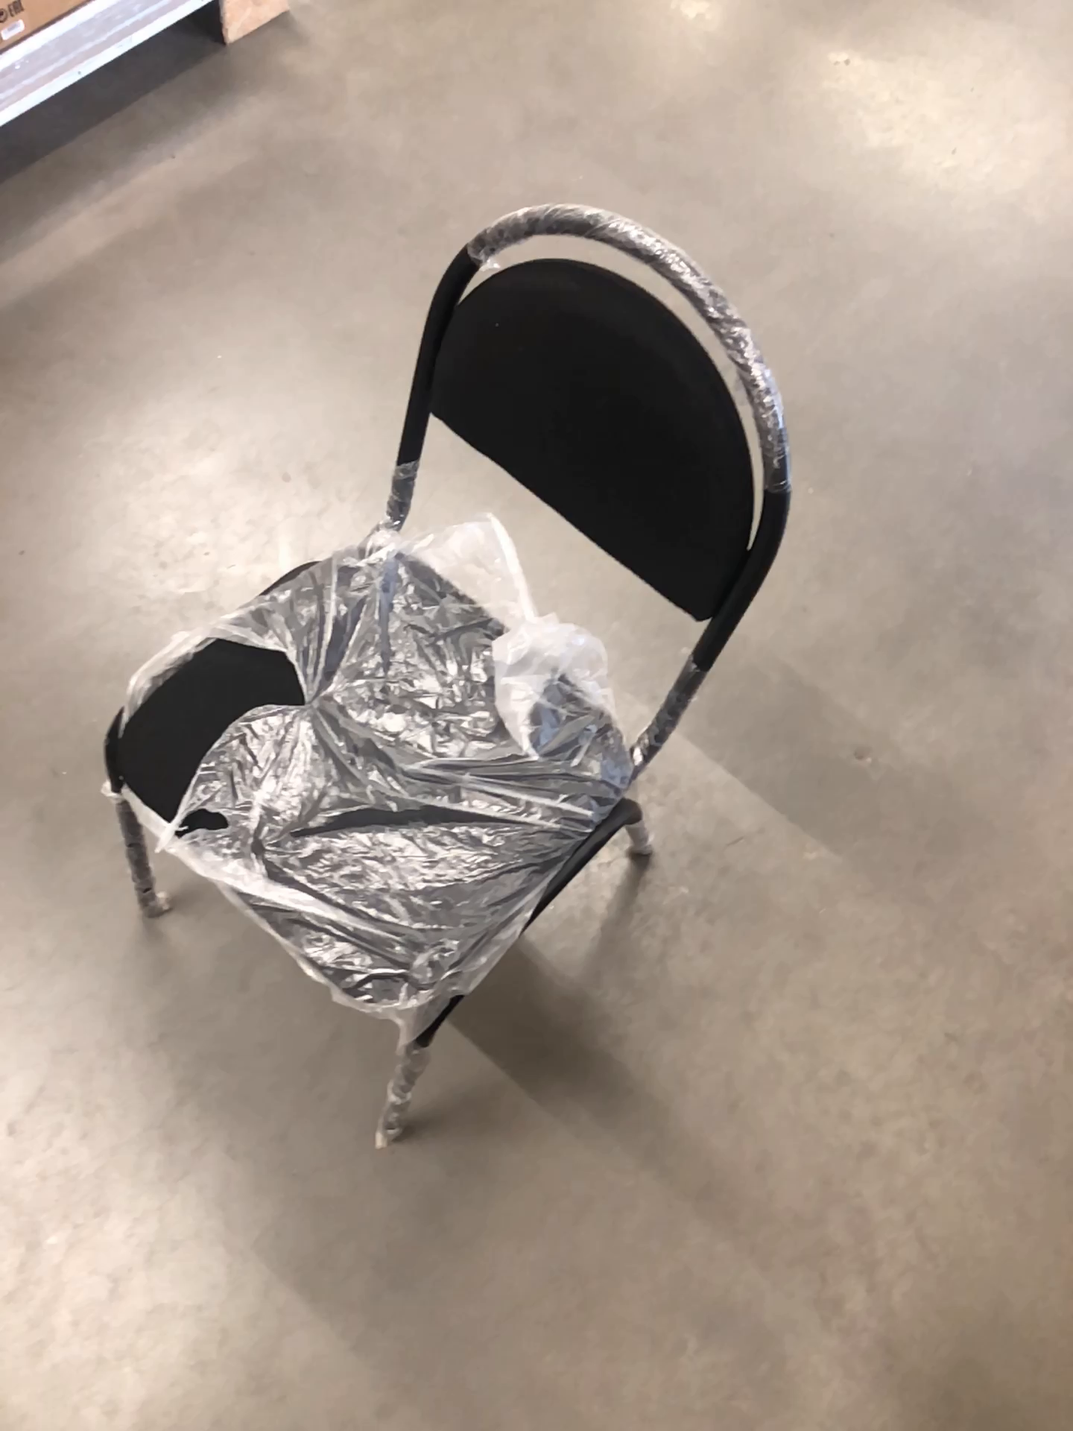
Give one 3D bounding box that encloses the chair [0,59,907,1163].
[{"bbox_3d":[-0.134,0.011,1.128,0.450,0.877,0.552,40,68,14],"label":"chair"}]
